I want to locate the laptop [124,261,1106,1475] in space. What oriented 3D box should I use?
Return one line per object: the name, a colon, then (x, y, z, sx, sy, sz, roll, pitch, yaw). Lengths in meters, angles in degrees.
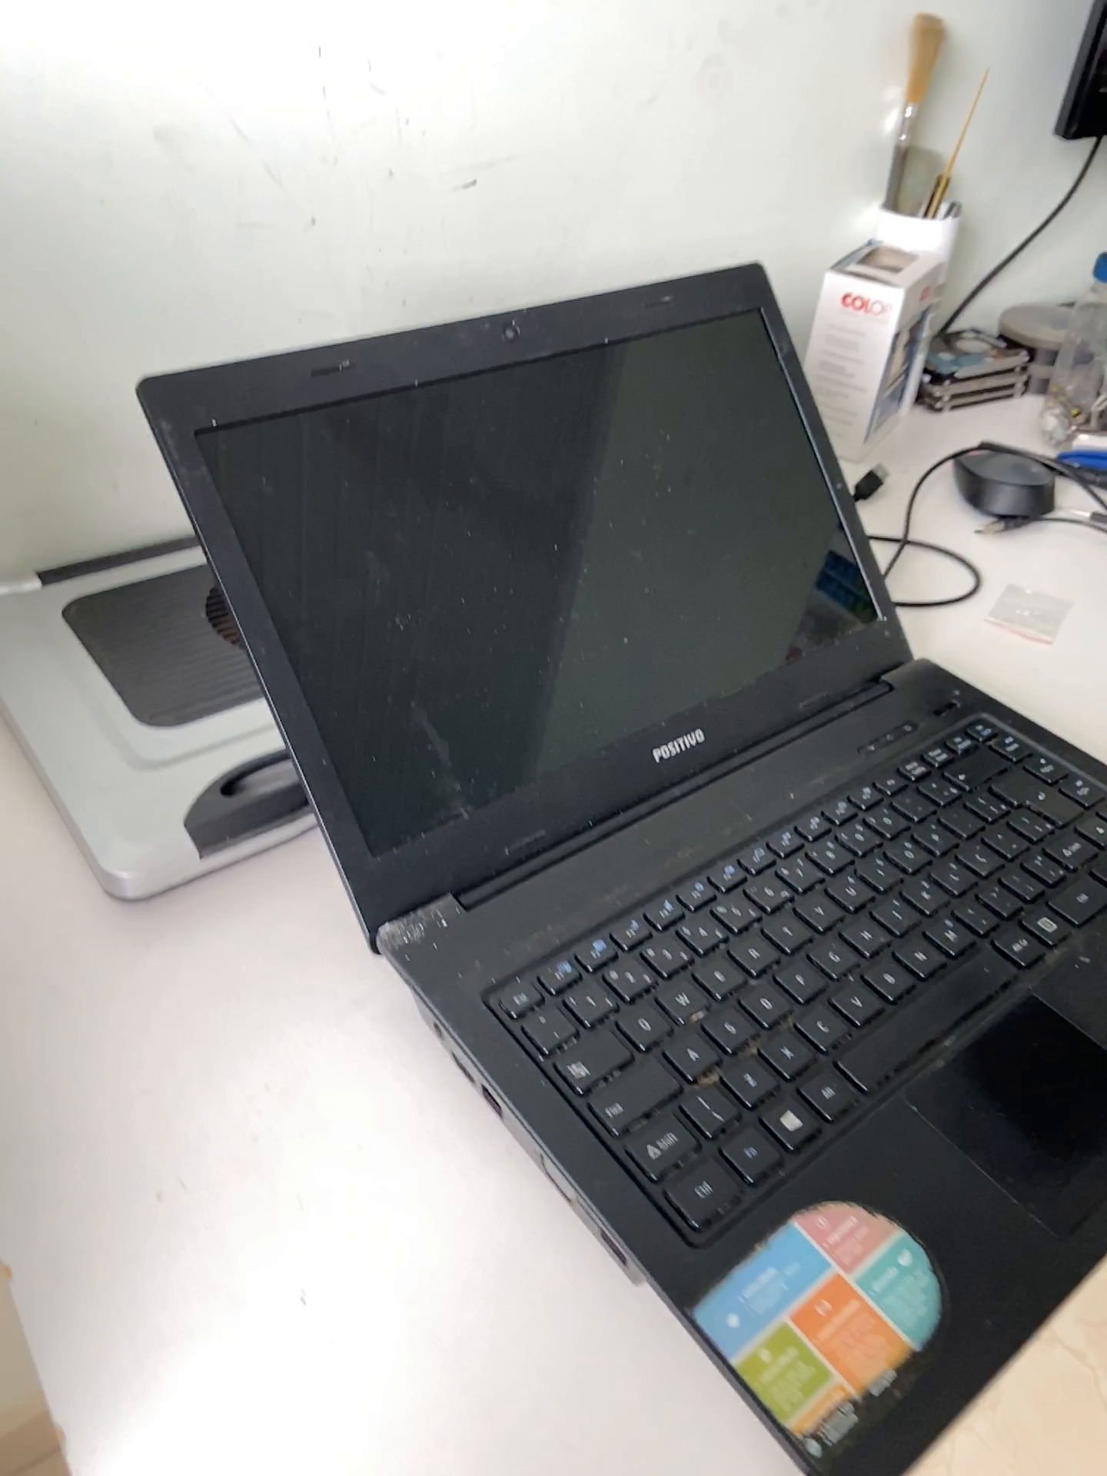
laptop: (0.089, -0.026, 0.440, 0.335, 0.162, 0.394, -24, 46, -31)
